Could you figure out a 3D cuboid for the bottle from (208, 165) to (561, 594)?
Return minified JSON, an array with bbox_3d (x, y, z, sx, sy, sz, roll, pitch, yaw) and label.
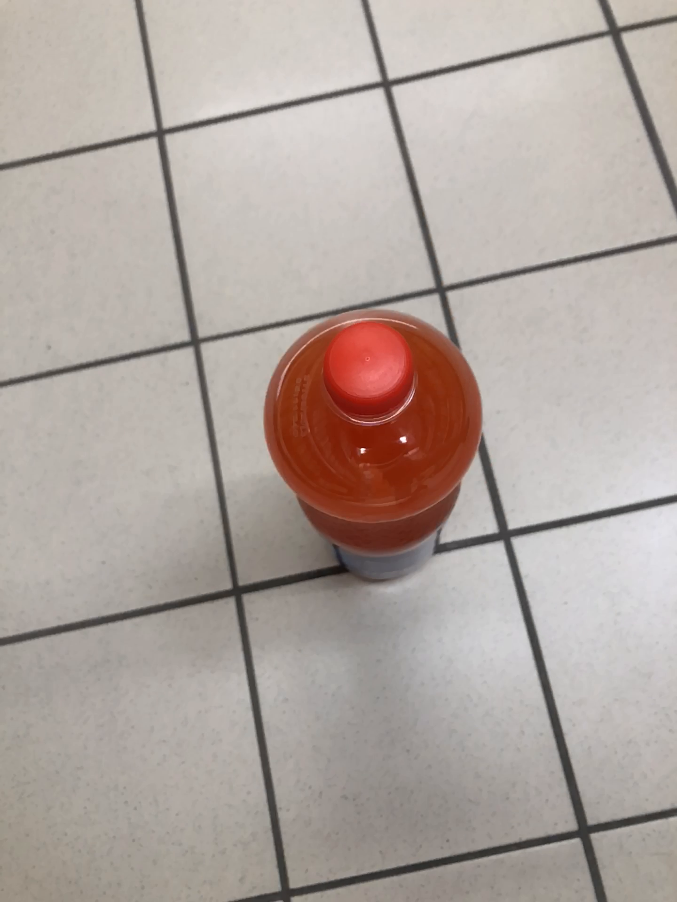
[{"bbox_3d":[0.022,0.002,0.391,0.100,0.310,0.110,-7,75,2],"label":"bottle"}]
